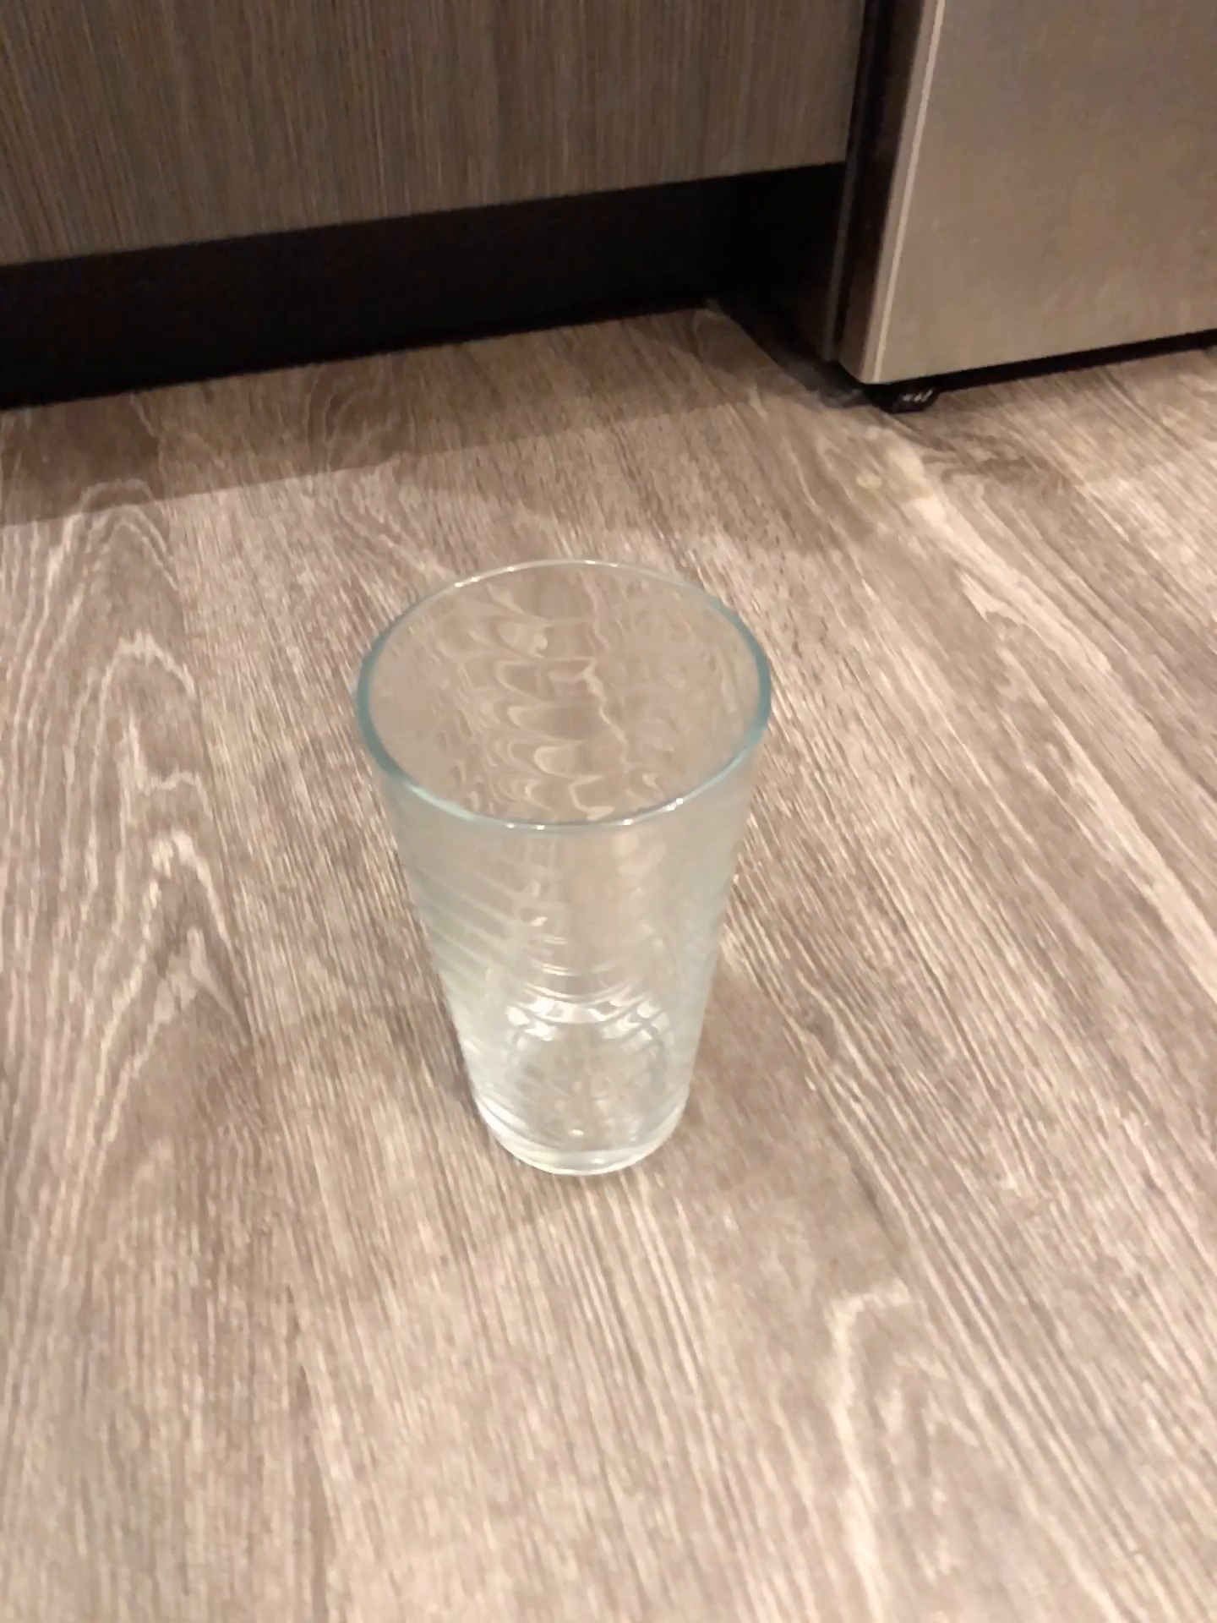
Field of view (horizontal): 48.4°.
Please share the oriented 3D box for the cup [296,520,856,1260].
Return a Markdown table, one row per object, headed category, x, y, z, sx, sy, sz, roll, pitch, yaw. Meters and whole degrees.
| category | x | y | z | sx | sy | sz | roll | pitch | yaw |
| --- | --- | --- | --- | --- | --- | --- | --- | --- | --- |
| cup | -0.011 | 0.022 | 0.325 | 0.090 | 0.139 | 0.090 | 0 | 46 | 0 |
